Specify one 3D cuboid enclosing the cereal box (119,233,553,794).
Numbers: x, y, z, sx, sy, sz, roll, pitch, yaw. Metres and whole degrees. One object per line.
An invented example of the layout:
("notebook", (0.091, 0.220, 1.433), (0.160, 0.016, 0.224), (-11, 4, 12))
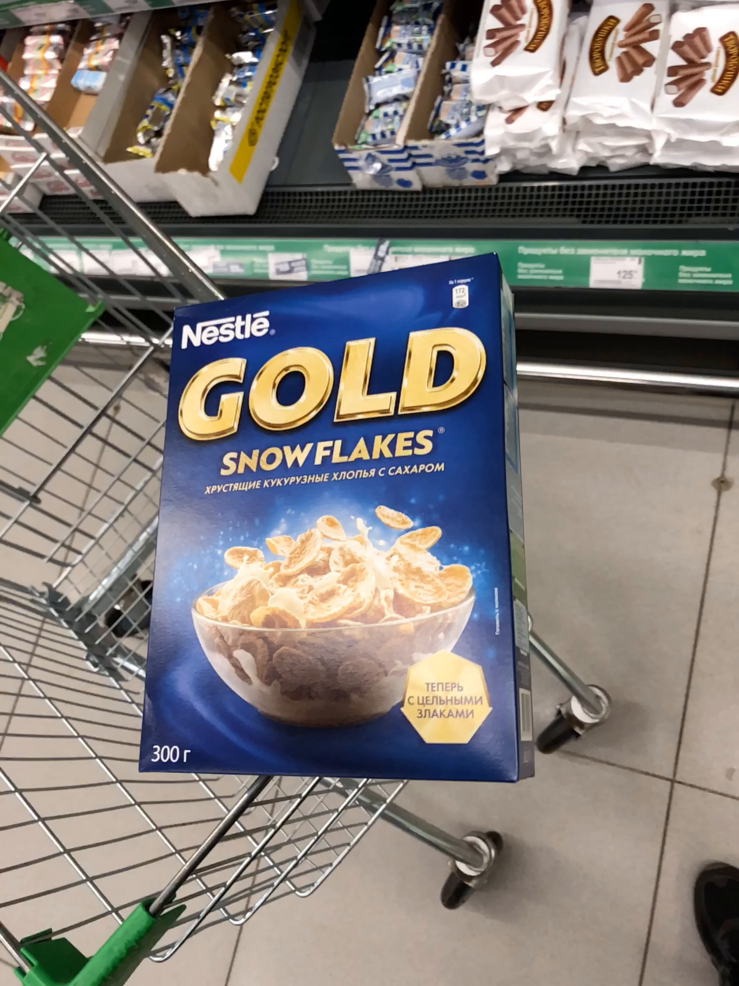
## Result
("cereal box", (-0.015, 0.010, 0.428), (0.200, 0.050, 0.270), (-4, 72, 16))
